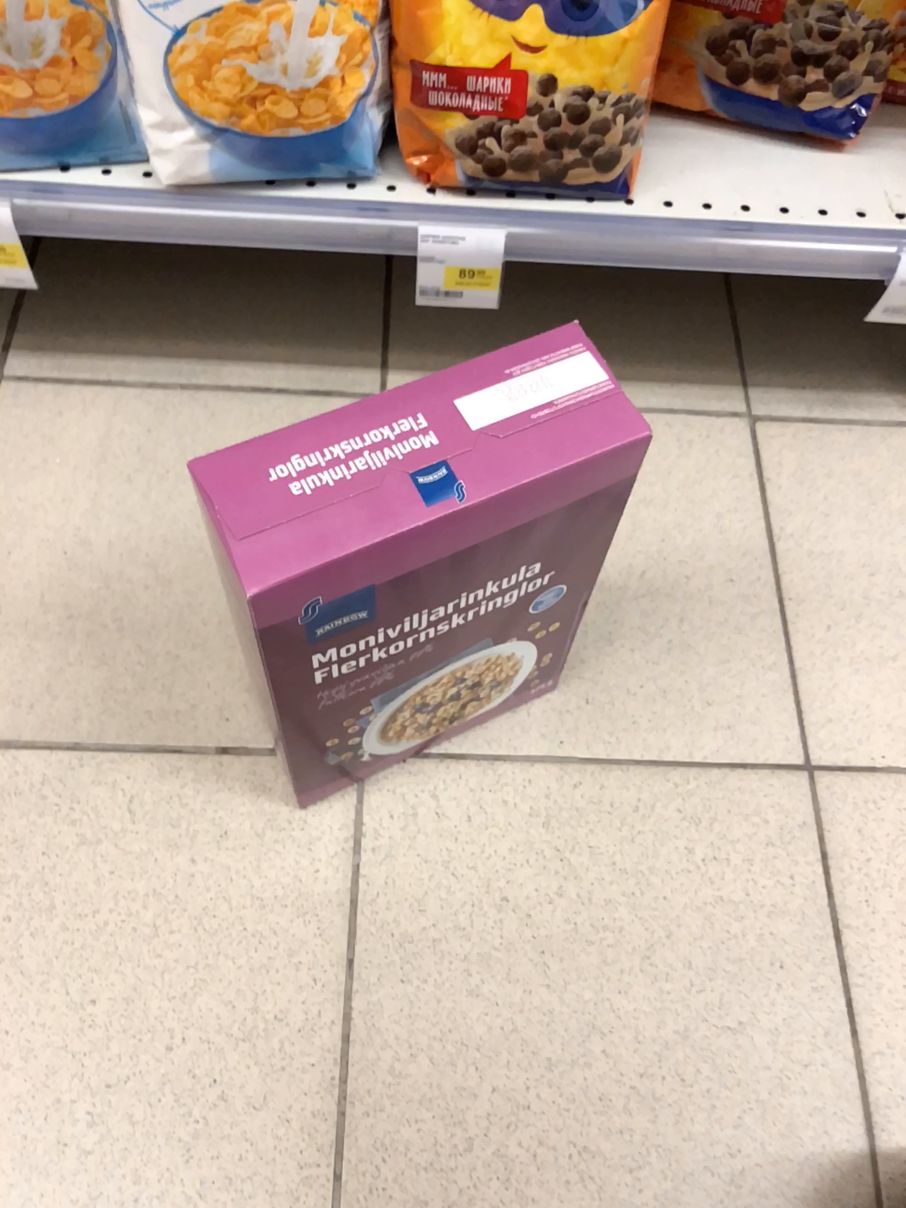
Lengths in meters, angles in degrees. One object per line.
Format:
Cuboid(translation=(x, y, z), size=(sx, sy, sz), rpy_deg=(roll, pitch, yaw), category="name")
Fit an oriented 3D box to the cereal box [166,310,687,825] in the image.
Cuboid(translation=(-0.015, 0.000, 0.551), size=(0.210, 0.279, 0.080), rpy_deg=(-23, 65, -15), category="cereal box")
